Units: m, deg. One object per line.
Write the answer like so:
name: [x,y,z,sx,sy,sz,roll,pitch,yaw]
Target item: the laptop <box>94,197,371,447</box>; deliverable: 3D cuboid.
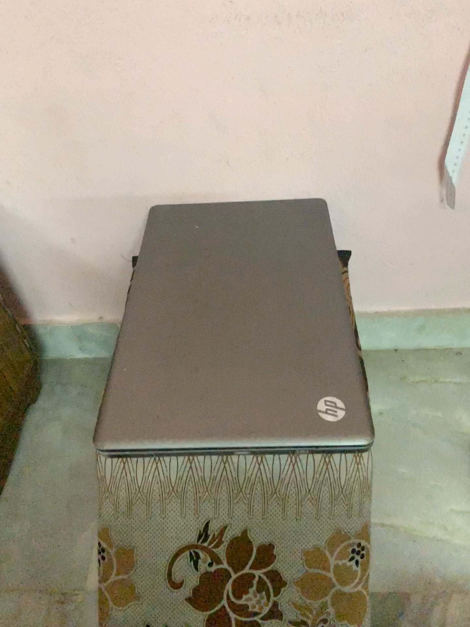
laptop: [-0.001,-0.022,0.560,0.249,0.002,0.381,-2,47,3]
